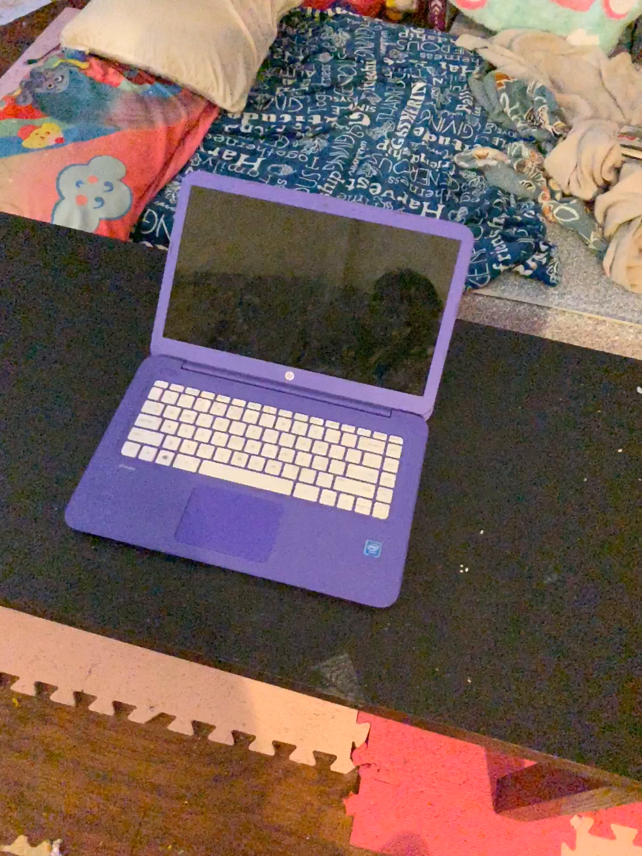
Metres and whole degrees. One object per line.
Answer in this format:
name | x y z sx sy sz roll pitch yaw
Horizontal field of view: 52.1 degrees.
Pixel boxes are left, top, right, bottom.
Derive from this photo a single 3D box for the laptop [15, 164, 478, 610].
laptop | -0.043 -0.066 0.686 0.339 0.132 0.398 13 57 5
